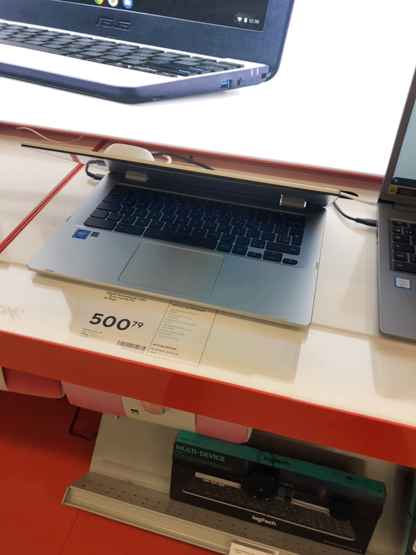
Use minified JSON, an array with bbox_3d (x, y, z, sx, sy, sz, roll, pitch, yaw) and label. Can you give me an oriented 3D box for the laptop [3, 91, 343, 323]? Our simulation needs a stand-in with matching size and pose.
[{"bbox_3d":[-0.021,-0.098,0.532,0.311,0.119,0.214,11,43,10],"label":"laptop"}]
